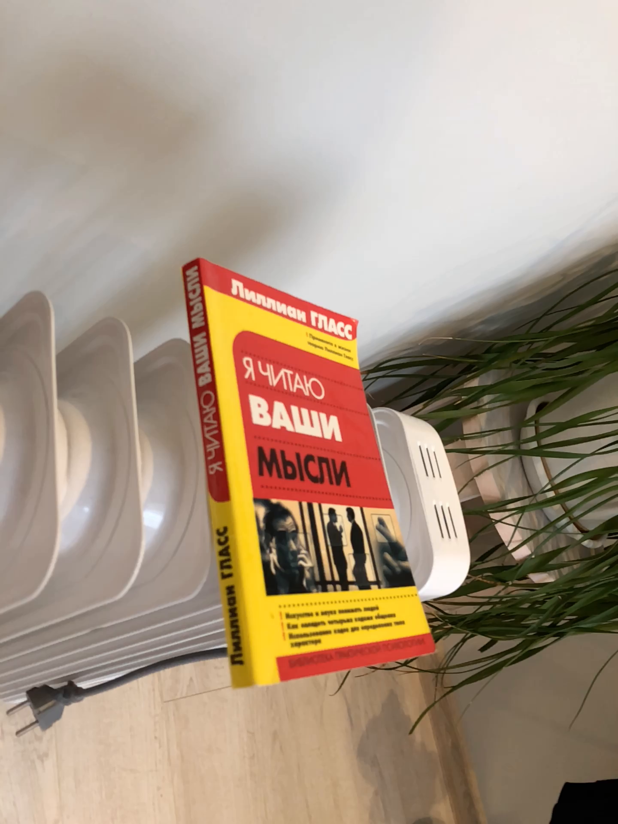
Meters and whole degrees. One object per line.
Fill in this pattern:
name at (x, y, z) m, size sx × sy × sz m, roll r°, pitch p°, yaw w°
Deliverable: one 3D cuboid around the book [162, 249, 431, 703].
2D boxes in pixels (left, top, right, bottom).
book at (-0.006, 0.027, 0.348) m, size 0.129 × 0.020 × 0.207 m, roll 13°, pitch 58°, yaw -47°
